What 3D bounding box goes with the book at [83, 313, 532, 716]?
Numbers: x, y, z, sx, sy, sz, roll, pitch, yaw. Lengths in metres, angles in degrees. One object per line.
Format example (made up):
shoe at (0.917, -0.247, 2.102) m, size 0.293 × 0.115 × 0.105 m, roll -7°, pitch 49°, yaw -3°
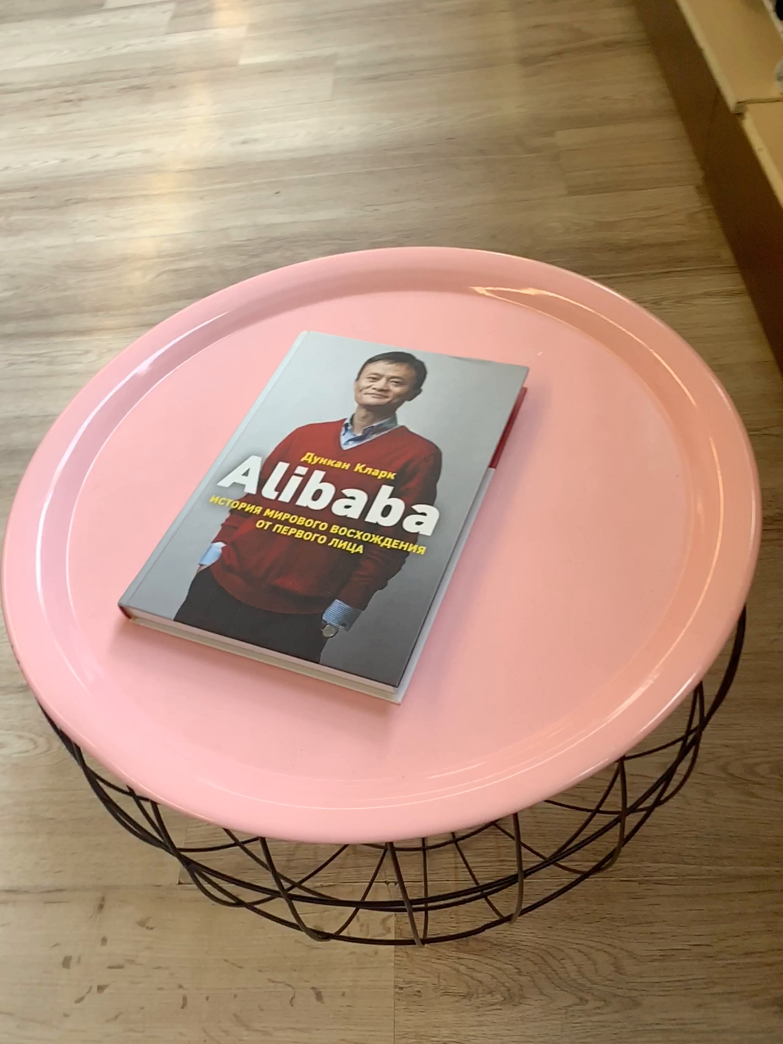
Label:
book at (-0.038, -0.025, 0.479) m, size 0.180 × 0.026 × 0.240 m, roll 14°, pitch 57°, yaw 18°
